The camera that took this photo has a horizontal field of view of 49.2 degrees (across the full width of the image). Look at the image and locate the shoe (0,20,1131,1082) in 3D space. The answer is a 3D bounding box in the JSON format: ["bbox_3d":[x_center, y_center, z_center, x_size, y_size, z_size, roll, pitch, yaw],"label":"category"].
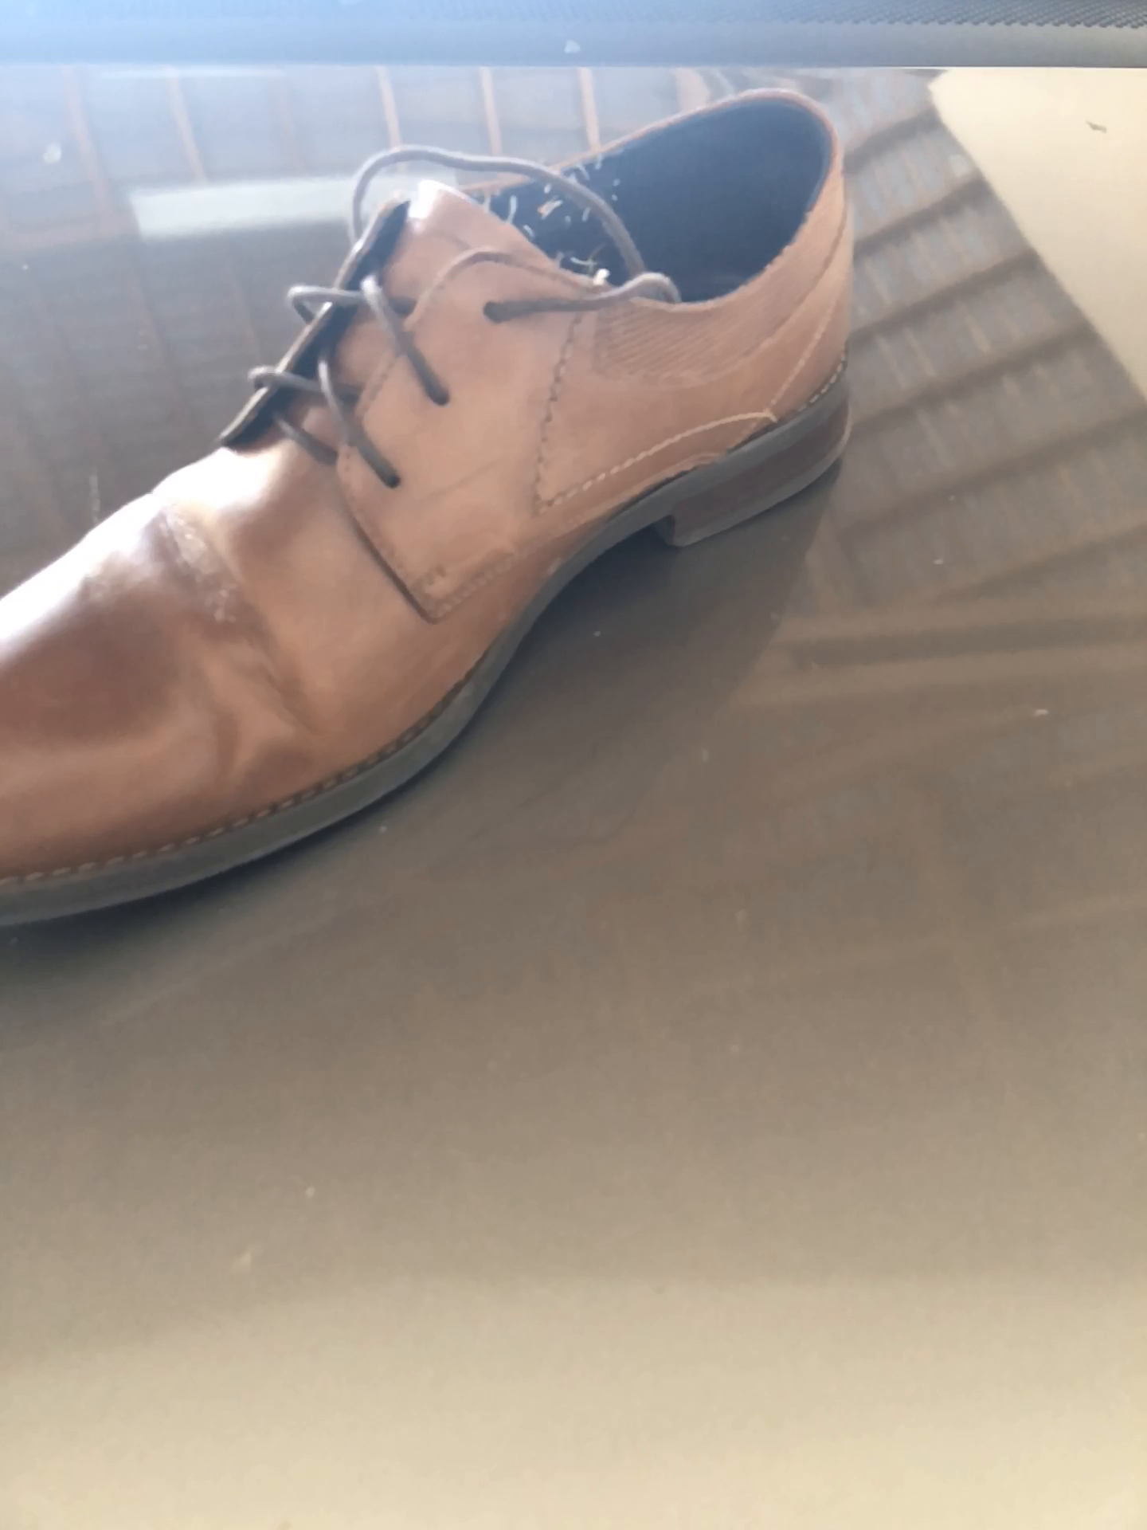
[{"bbox_3d":[-0.040,-0.086,0.297,0.341,0.089,0.130,-28,47,-25],"label":"shoe"}]
